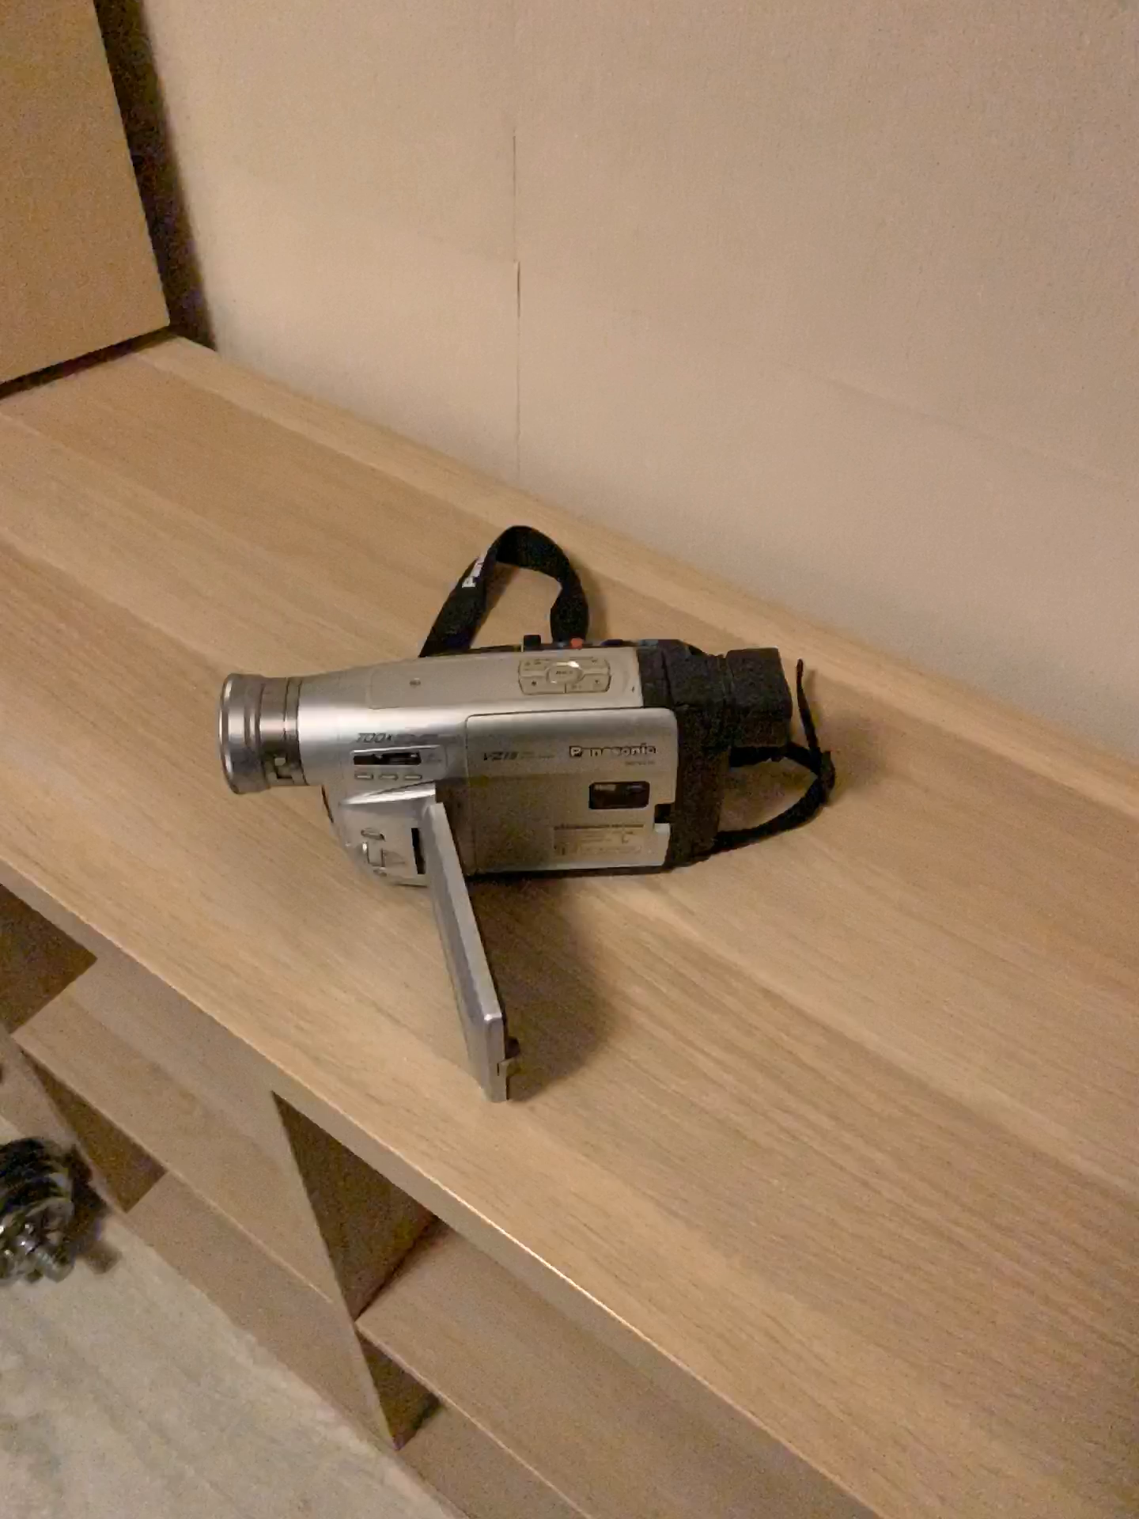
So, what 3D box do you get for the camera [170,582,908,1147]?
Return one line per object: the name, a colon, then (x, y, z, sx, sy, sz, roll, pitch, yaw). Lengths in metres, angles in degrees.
camera: (-0.017, 0.035, 0.496, 0.246, 0.109, 0.204, -2, 46, -5)
